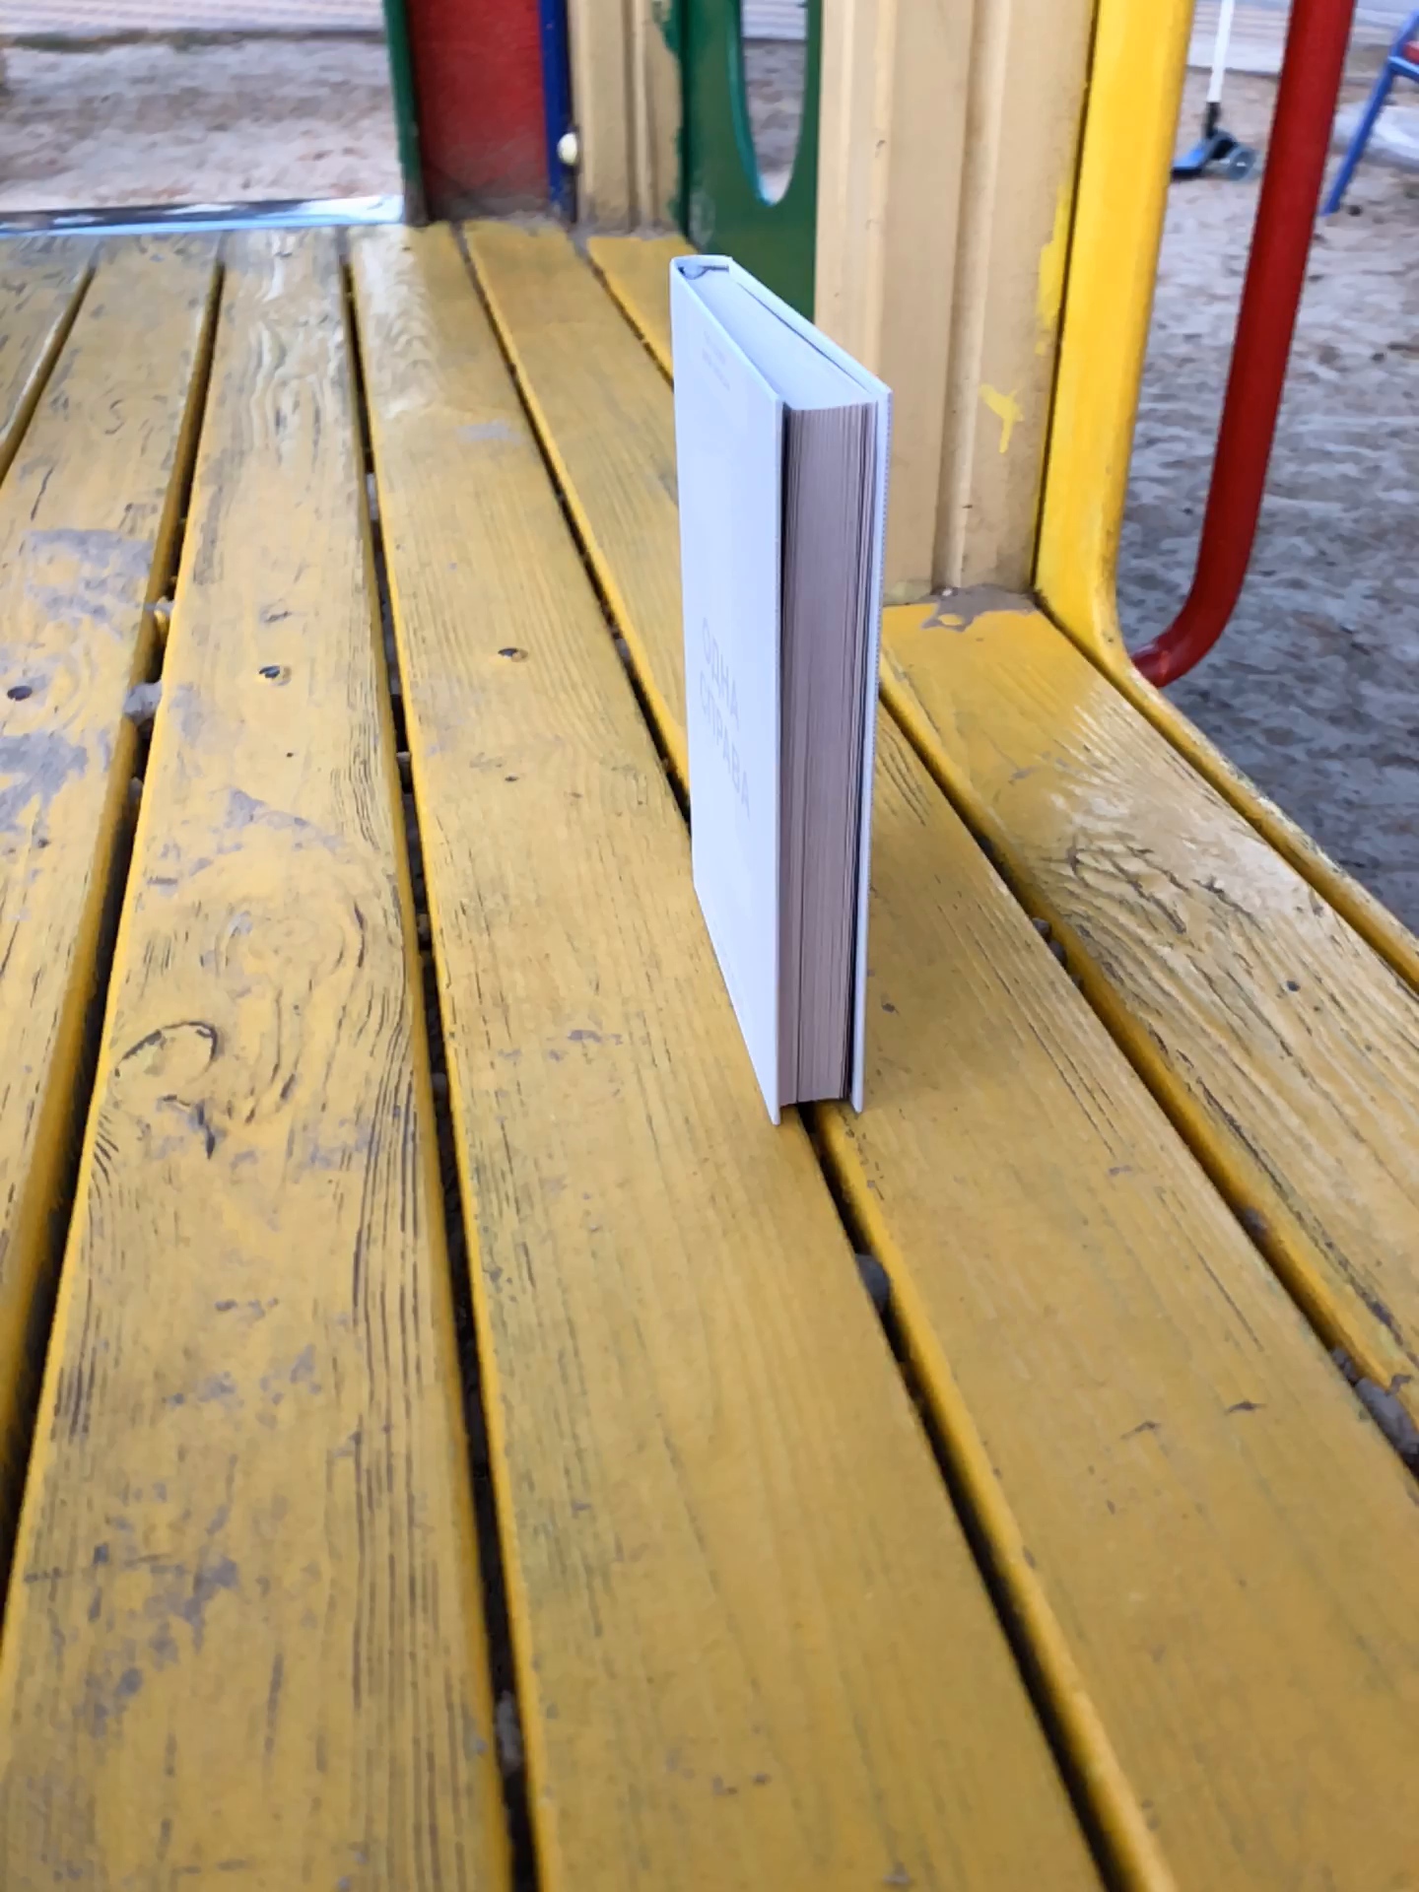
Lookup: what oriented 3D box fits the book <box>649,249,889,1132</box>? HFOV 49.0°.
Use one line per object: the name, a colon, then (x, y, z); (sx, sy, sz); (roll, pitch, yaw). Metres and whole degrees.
book: (0.014, -0.077, 0.459); (0.030, 0.208, 0.155); (-7, 35, -7)
